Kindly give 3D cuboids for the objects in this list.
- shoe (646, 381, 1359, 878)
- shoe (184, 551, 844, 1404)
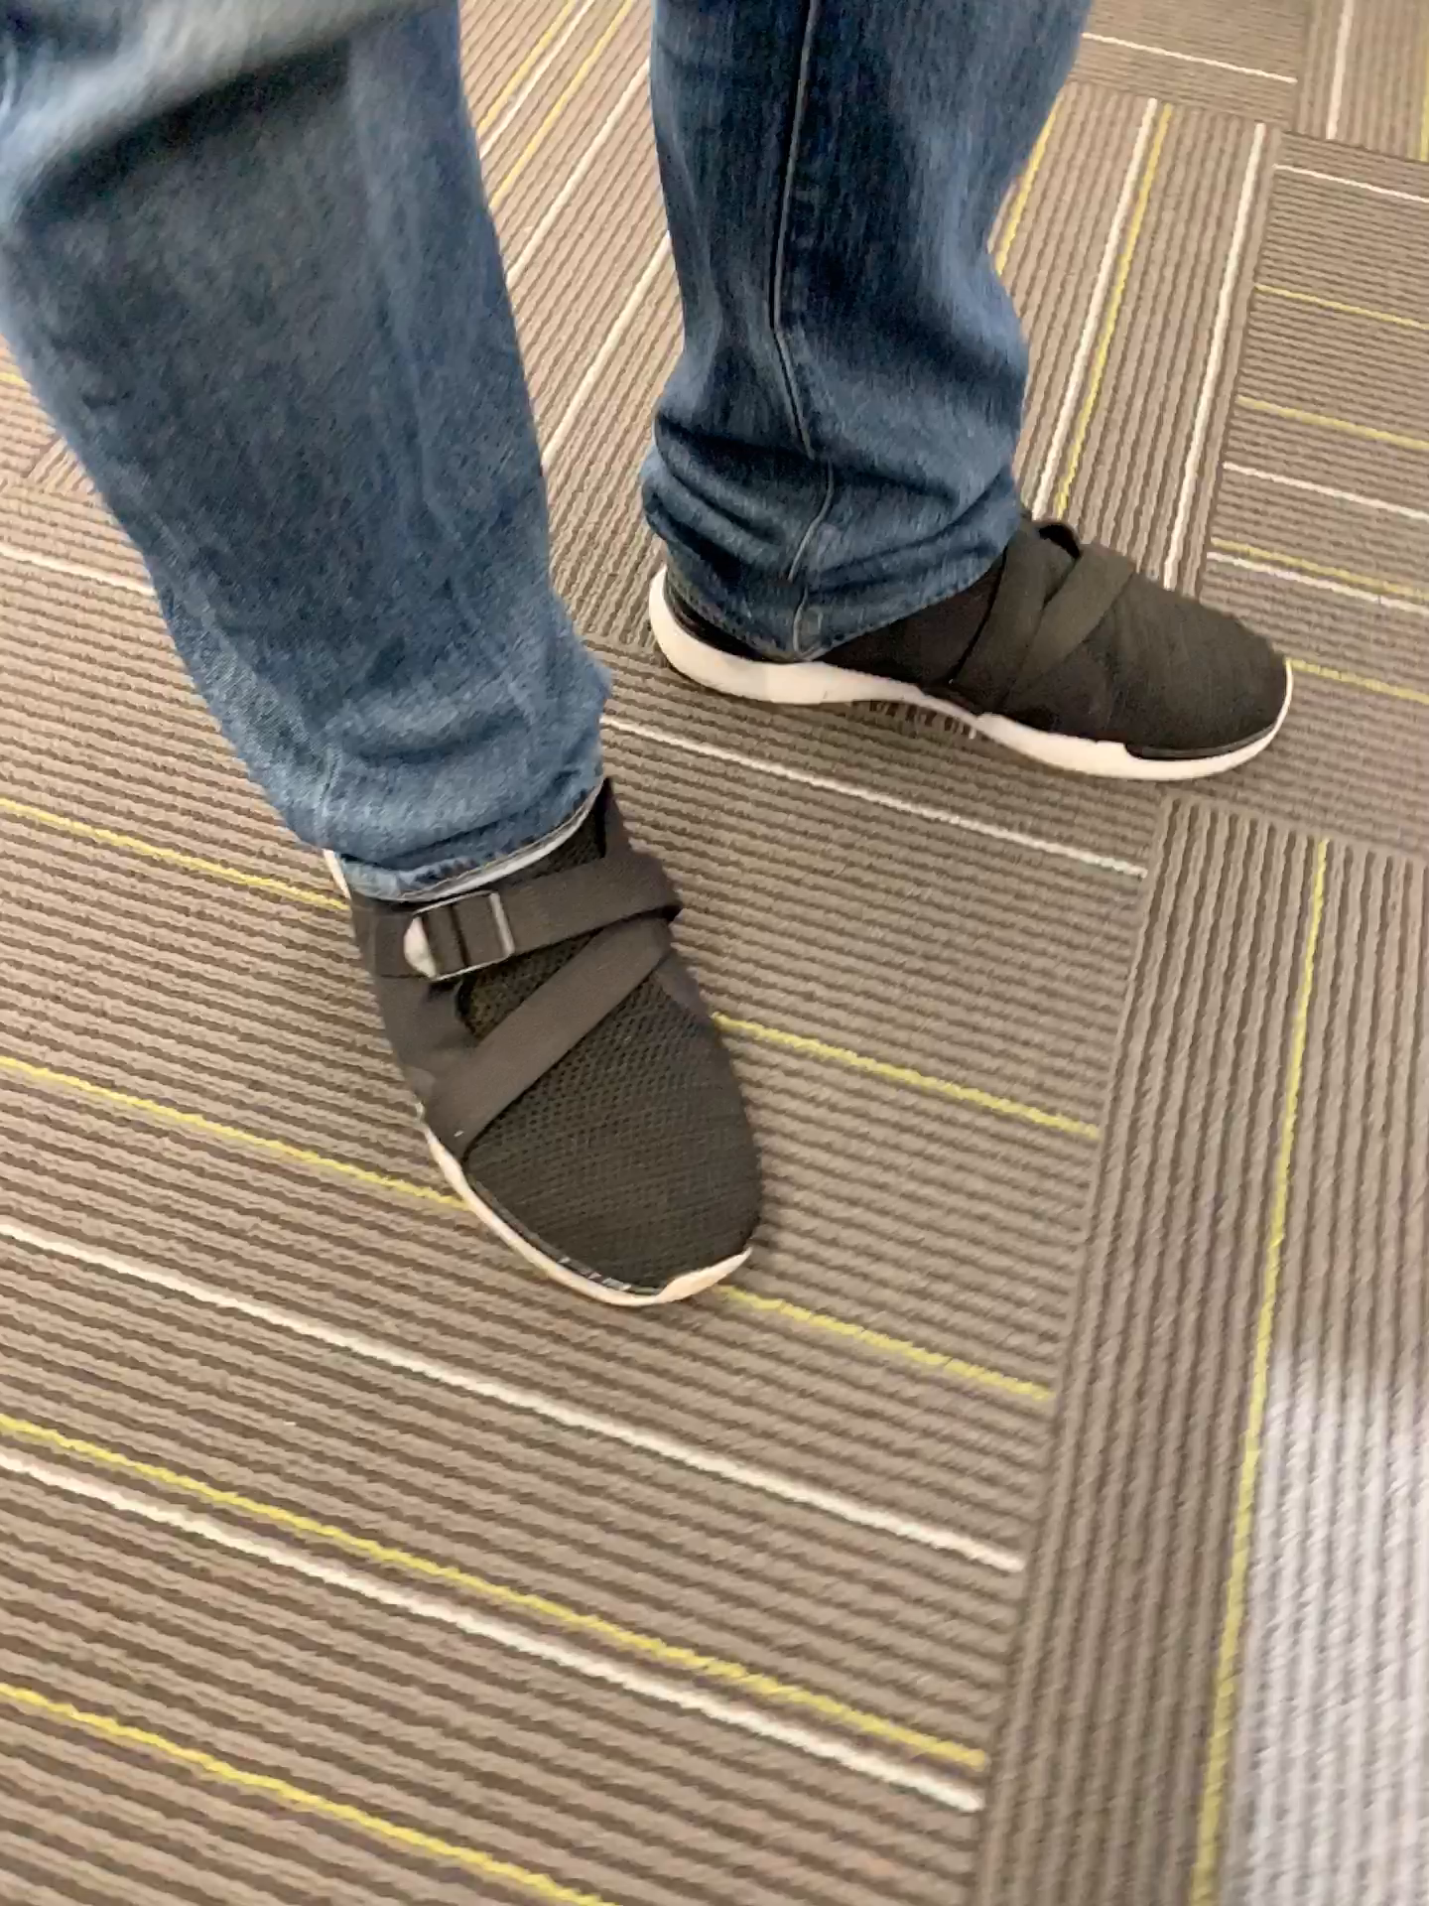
[{"bbox_3d":[0.129,-0.153,0.696,0.300,0.120,0.120,14,58,5],"label":"shoe"},{"bbox_3d":[-0.086,-0.001,0.569,0.120,0.110,0.301,-24,63,-17],"label":"shoe"}]
